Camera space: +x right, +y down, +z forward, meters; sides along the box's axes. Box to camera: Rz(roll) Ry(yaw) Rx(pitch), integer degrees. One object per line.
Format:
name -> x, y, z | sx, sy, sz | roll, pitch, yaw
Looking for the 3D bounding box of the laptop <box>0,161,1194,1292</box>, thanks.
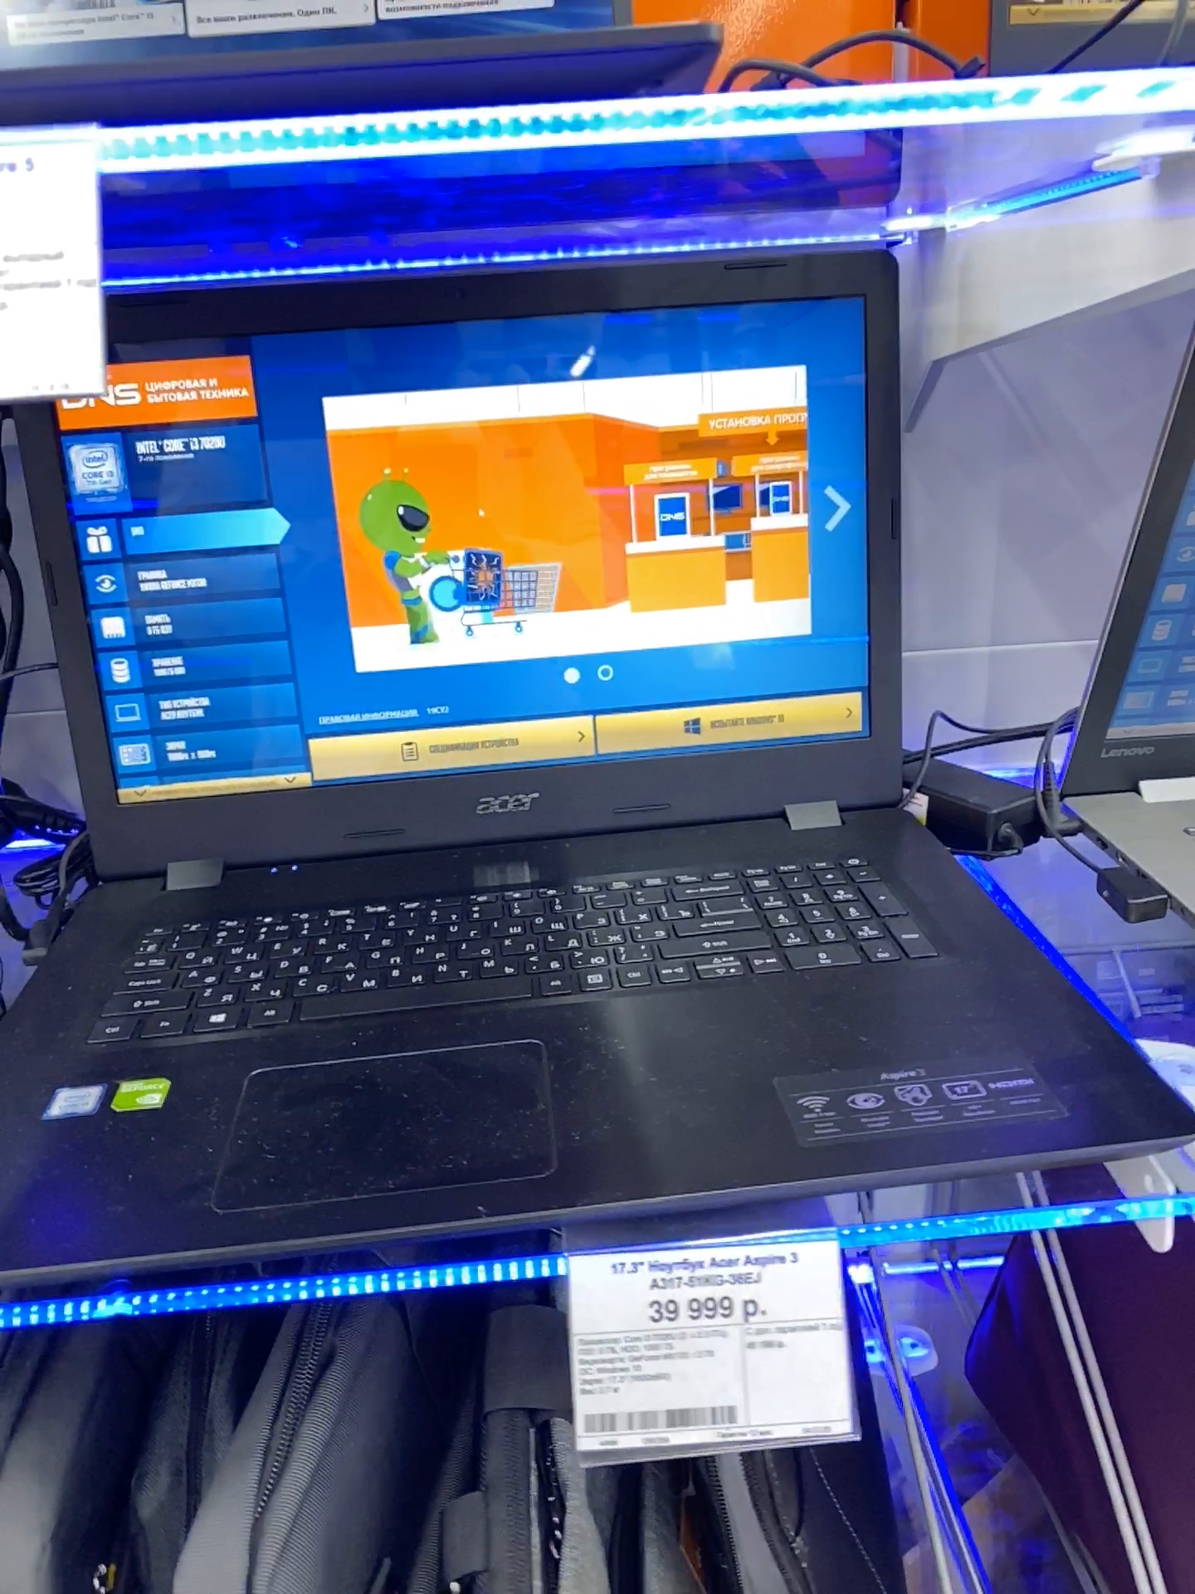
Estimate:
laptop -> -0.038, -0.061, 0.475 | 0.421, 0.273, 0.328 | -5, 20, -4
